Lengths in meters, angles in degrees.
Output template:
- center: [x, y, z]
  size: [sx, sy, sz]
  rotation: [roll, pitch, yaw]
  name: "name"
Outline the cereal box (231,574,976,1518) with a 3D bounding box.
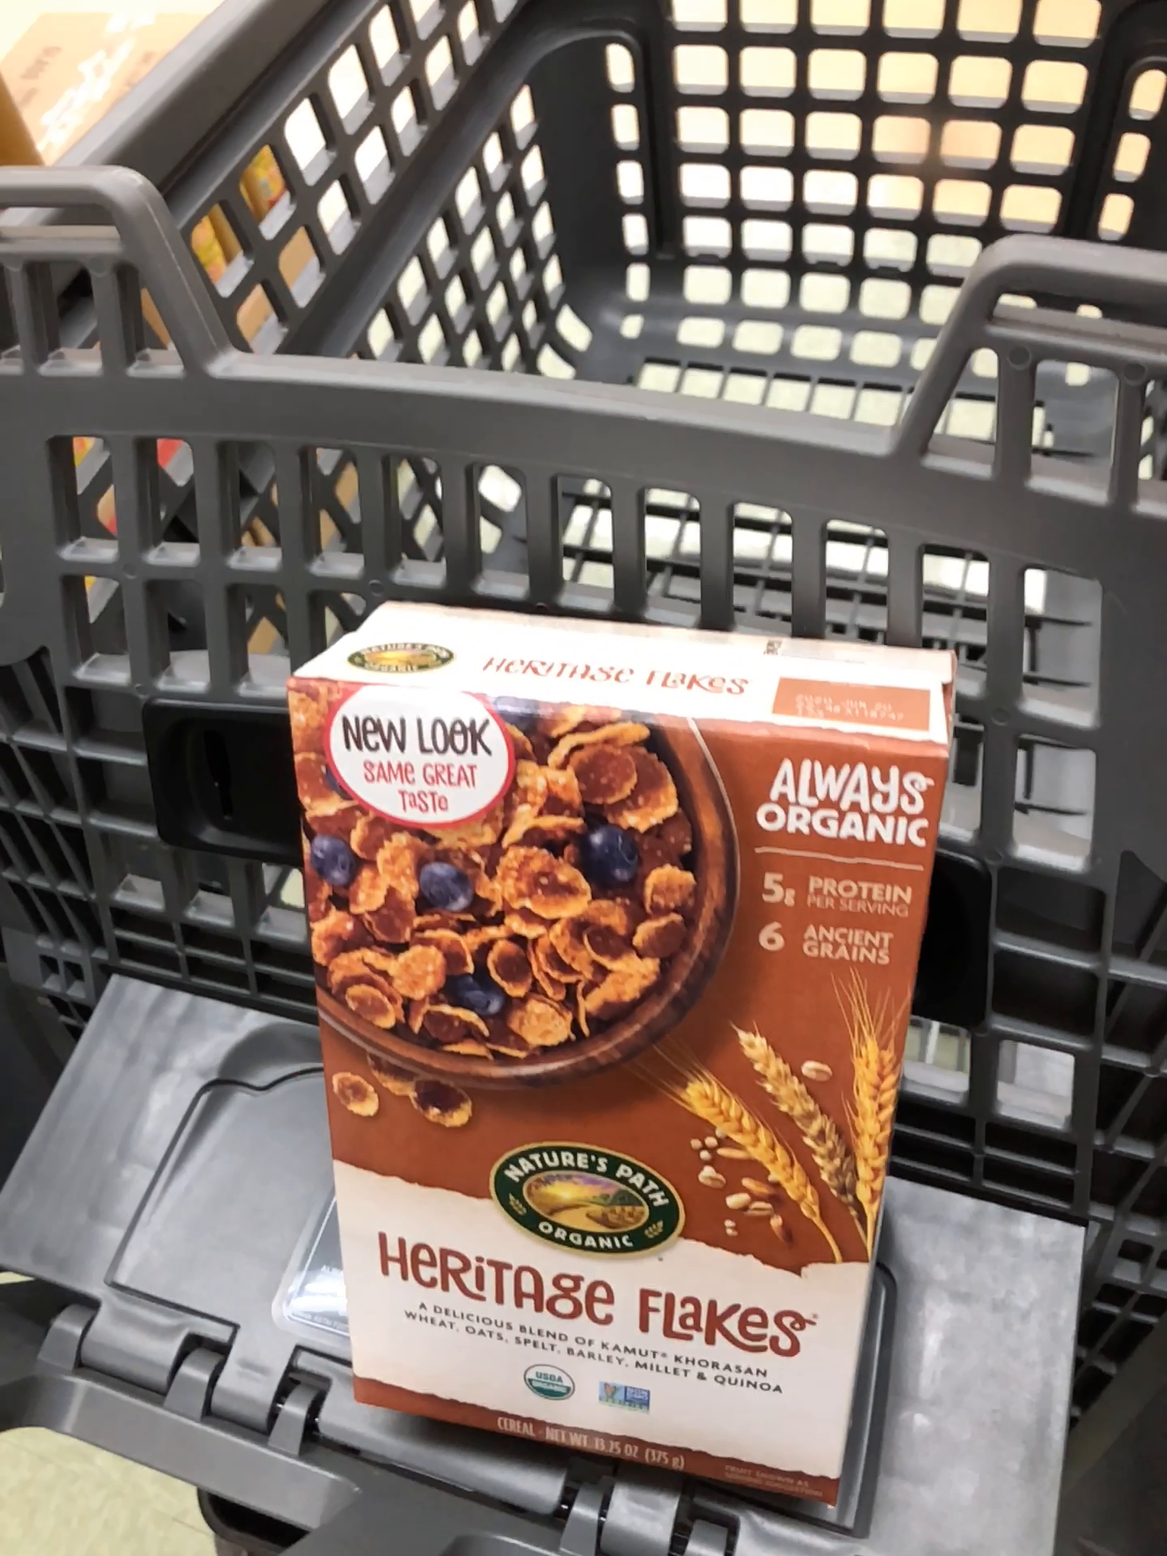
- center: [0.005, 0.078, 0.366]
  size: [0.170, 0.250, 0.060]
  rotation: [6, 25, 12]
  name: "cereal box"
